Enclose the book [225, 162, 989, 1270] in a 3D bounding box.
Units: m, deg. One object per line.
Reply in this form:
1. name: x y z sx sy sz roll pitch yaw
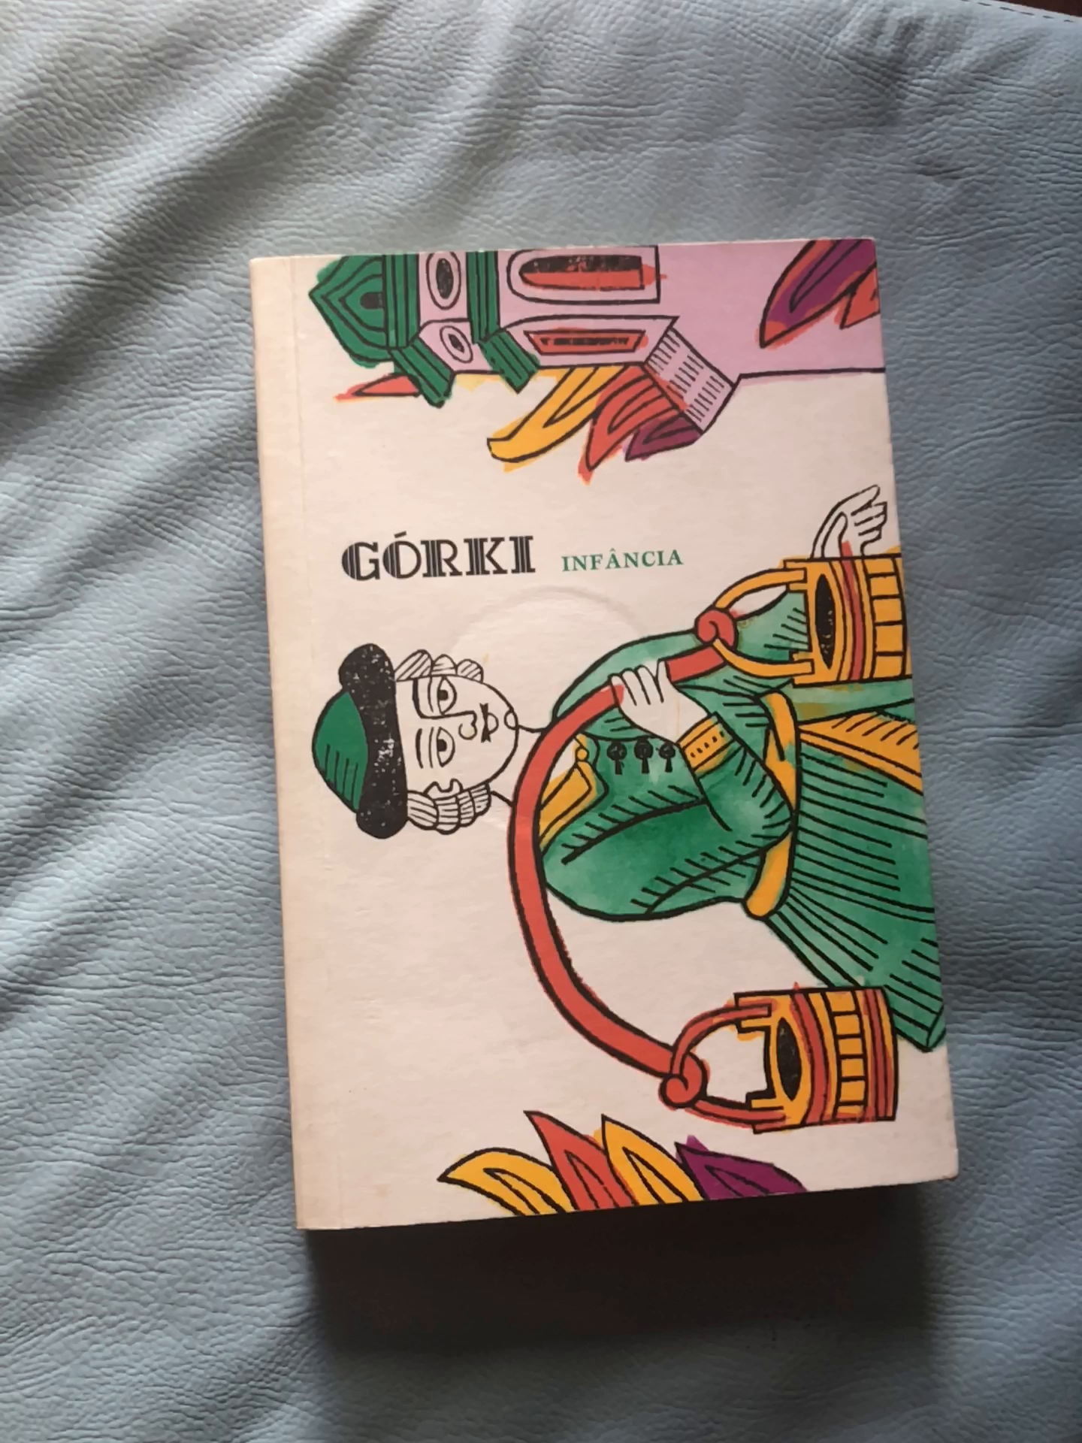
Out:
1. book: 0.011 -0.006 0.240 0.130 0.030 0.200 -3 86 -4
